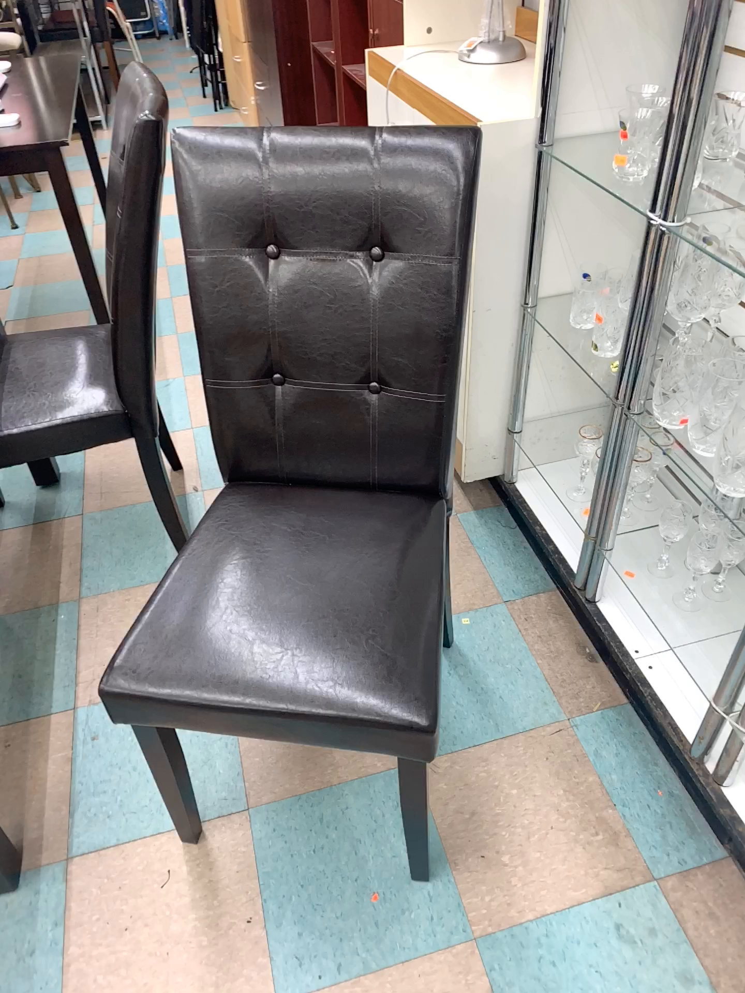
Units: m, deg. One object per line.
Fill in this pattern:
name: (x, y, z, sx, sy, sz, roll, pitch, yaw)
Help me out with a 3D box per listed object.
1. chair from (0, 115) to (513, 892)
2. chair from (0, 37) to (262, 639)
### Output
chair: (-0.078, 0.040, 1.102, 0.470, 0.955, 0.573, 5, 41, 10)
chair: (-0.690, -0.341, 1.608, 0.650, 0.955, 0.673, -14, 41, -12)
